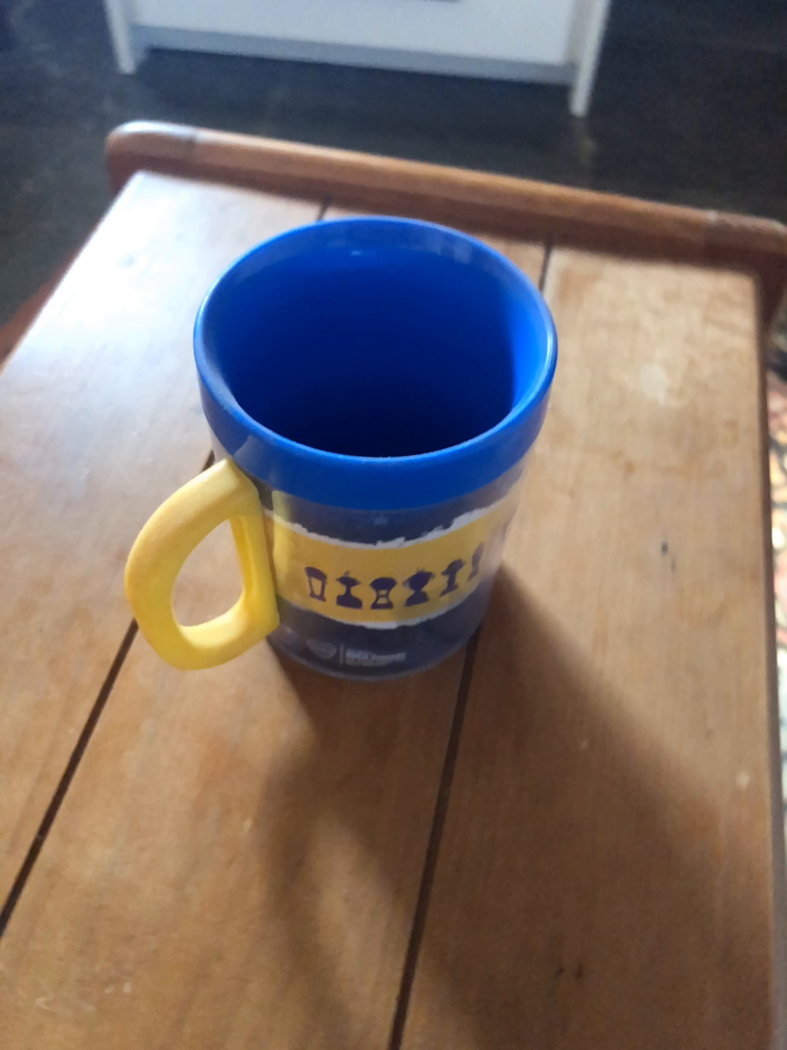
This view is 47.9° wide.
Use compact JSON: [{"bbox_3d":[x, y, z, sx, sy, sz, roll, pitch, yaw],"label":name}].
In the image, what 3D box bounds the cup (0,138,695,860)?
[{"bbox_3d":[-0.012,-0.007,0.225,0.121,0.109,0.090,-37,63,-26],"label":"cup"}]
